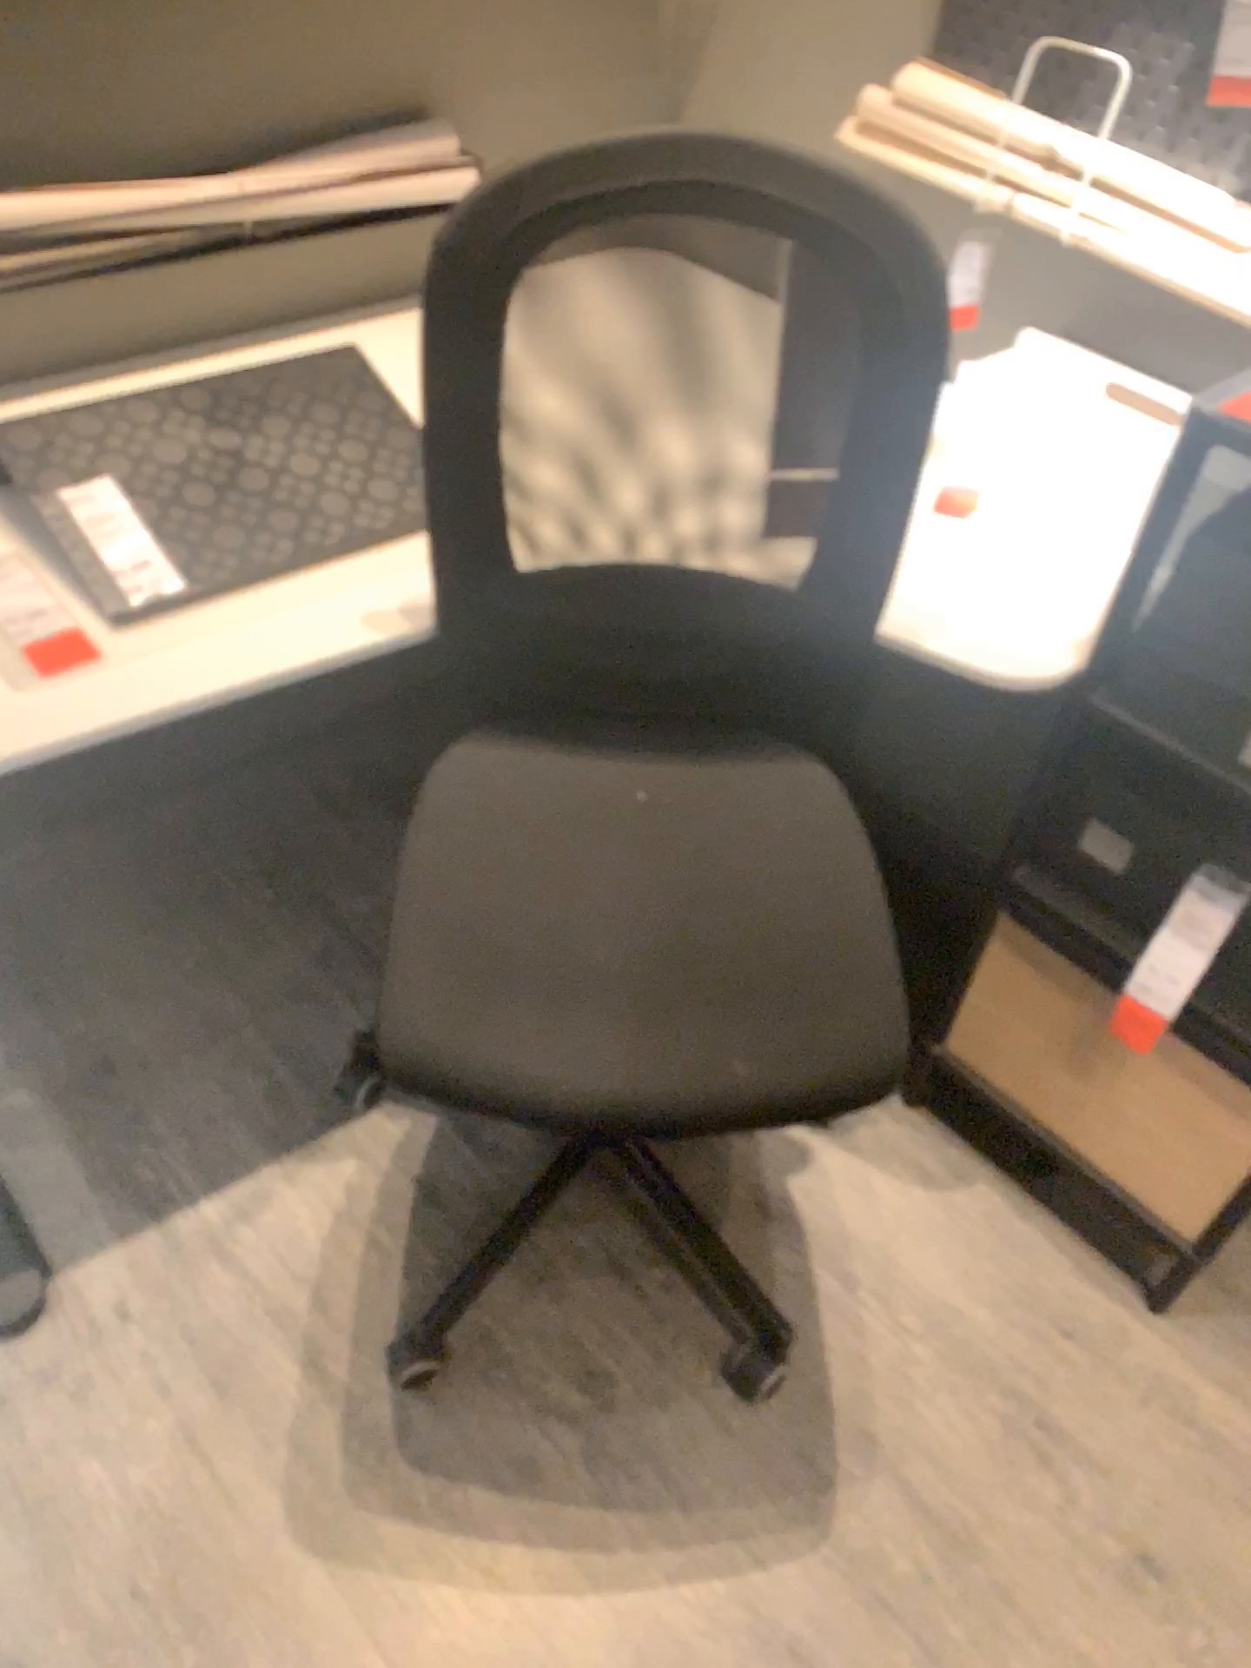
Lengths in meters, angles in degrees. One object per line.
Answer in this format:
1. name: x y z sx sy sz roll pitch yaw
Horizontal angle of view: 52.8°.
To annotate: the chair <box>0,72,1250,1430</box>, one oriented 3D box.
1. chair: 0.012 -0.021 1.175 0.690 0.996 0.713 4 44 -3
